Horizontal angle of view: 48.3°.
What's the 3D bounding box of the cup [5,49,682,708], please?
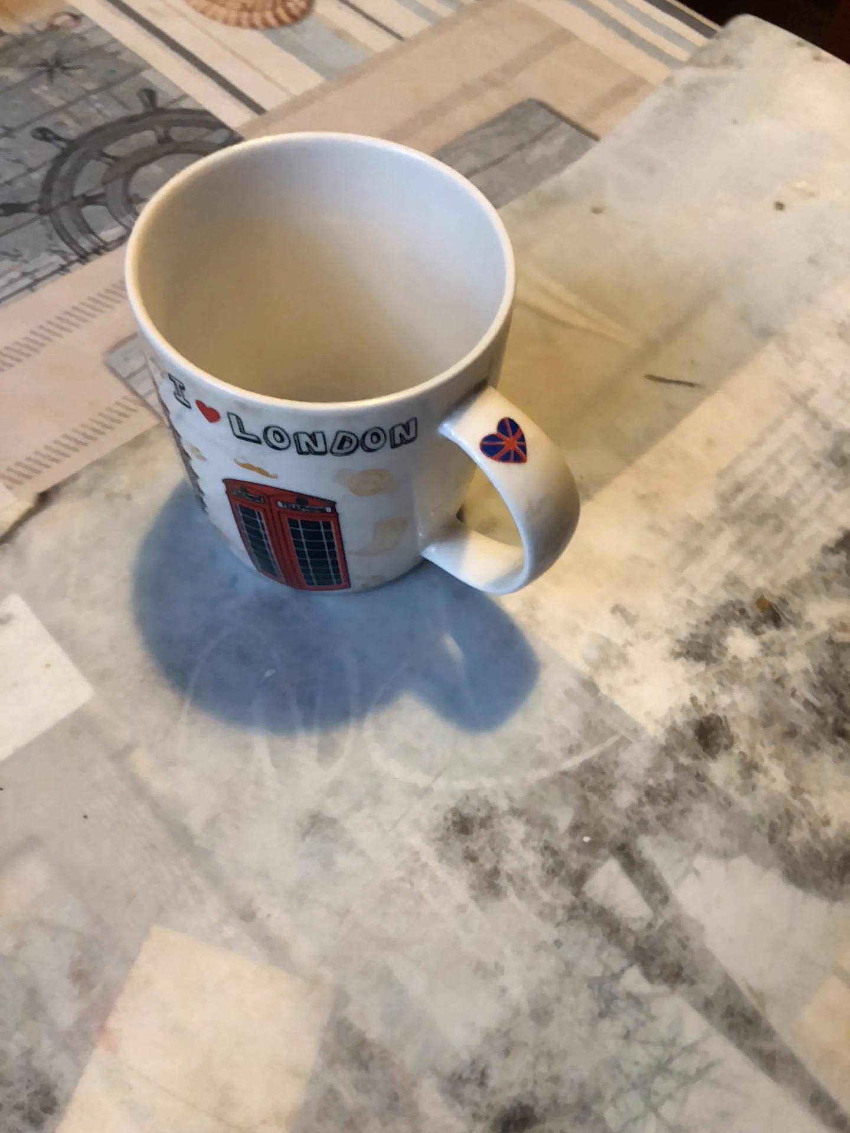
[{"bbox_3d":[-0.019,-0.047,0.242,0.121,0.086,0.084,38,68,18],"label":"cup"}]
